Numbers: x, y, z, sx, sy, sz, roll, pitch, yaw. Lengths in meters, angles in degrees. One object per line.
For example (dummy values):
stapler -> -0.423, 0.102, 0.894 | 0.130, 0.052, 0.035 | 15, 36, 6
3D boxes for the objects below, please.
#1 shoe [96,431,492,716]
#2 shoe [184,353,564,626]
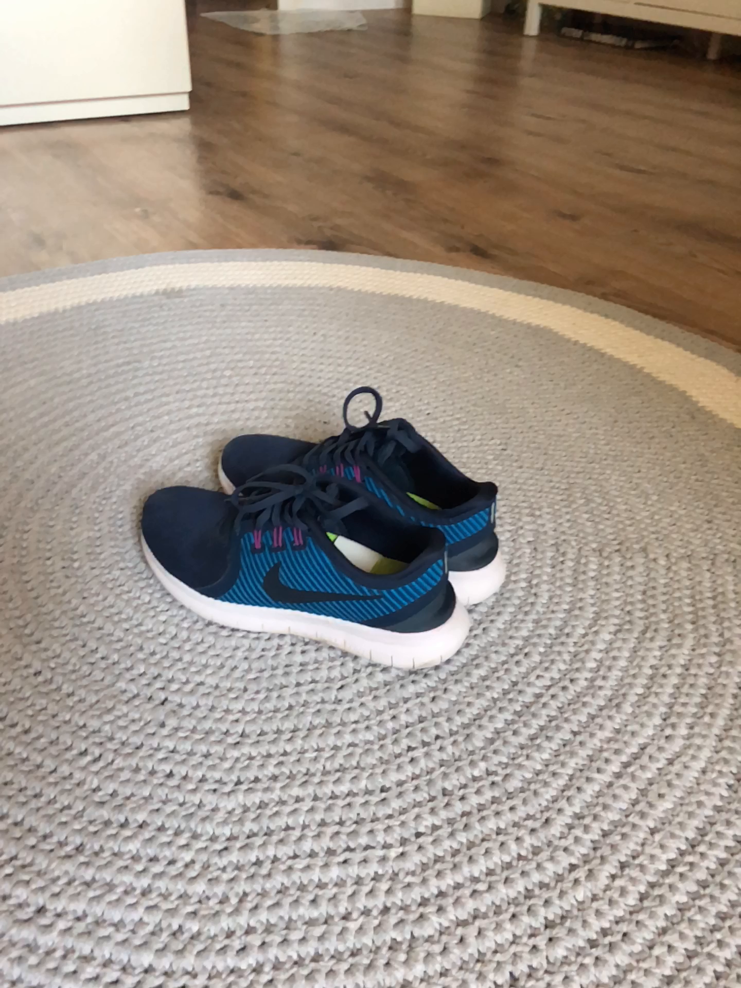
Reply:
shoe -> -0.053, 0.045, 0.566 | 0.244, 0.080, 0.100 | 18, 38, 20
shoe -> -0.005, -0.015, 0.625 | 0.270, 0.080, 0.100 | 24, 40, 26
